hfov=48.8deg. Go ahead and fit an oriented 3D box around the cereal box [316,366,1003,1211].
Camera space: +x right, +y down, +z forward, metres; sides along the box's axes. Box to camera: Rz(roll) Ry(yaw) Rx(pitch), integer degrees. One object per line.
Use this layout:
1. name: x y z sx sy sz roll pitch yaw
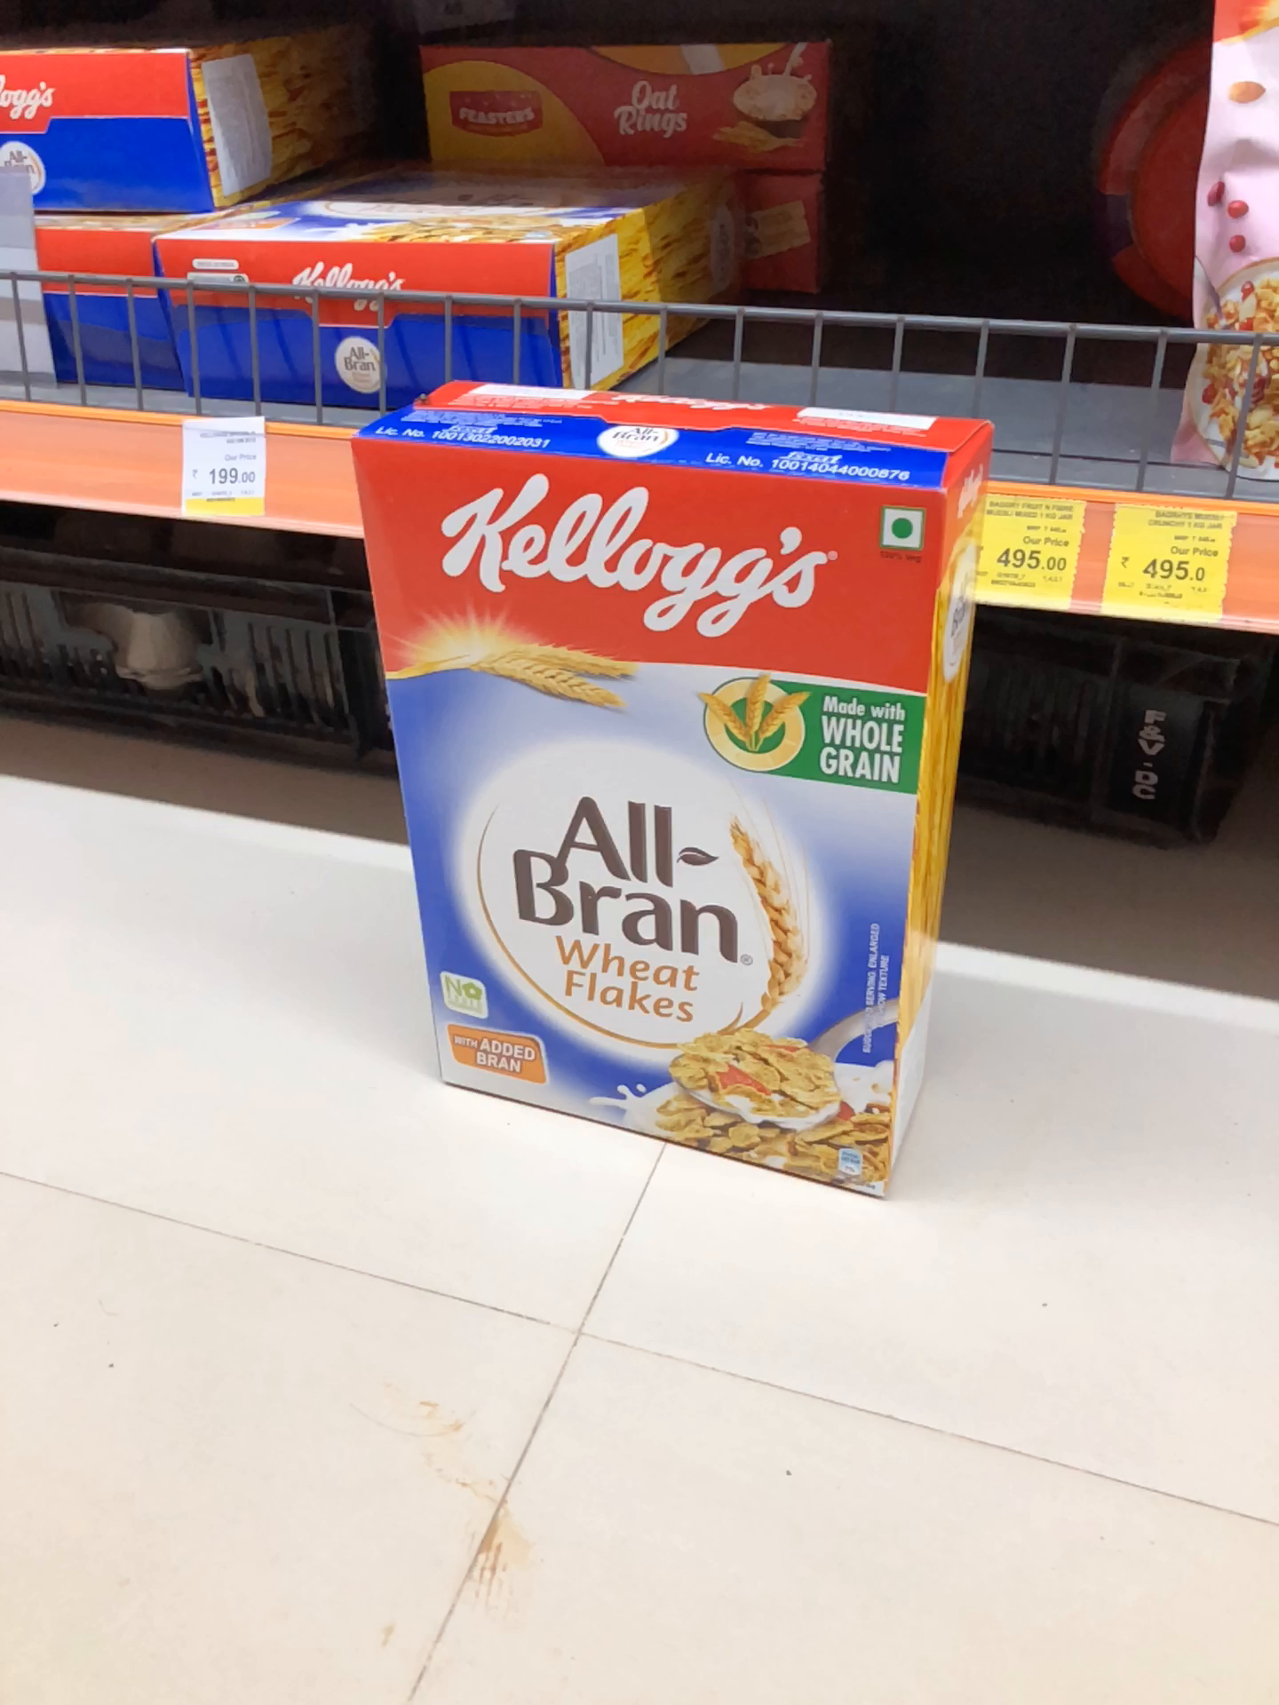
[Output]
1. cereal box: 0.009 -0.021 0.492 0.190 0.258 0.081 11 34 19
